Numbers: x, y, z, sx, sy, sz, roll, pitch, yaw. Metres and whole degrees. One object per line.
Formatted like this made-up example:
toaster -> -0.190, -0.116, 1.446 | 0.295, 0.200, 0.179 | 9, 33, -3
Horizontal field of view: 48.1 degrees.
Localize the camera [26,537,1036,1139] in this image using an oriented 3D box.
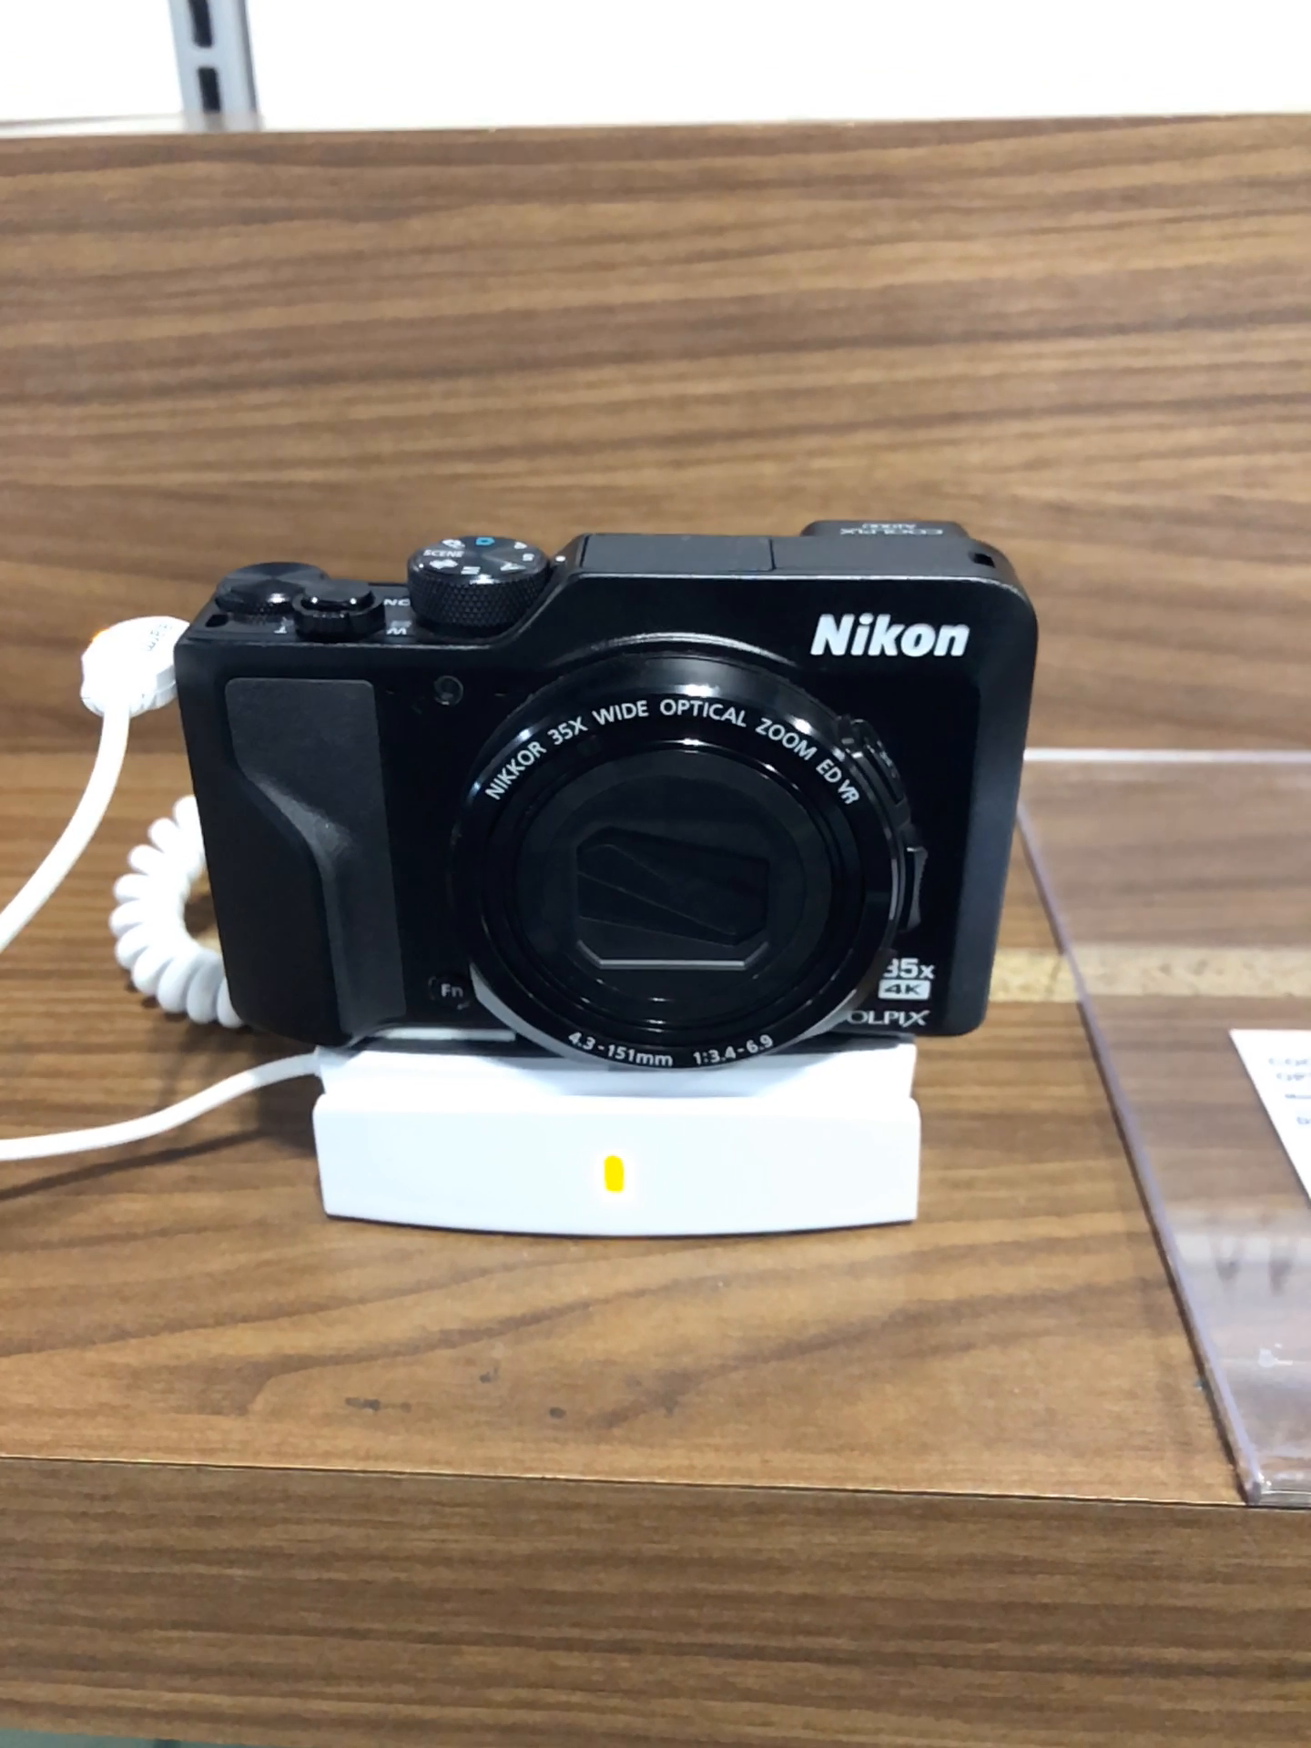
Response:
camera -> -0.014, -0.007, 0.211 | 0.120, 0.070, 0.050 | 1, 26, 4
